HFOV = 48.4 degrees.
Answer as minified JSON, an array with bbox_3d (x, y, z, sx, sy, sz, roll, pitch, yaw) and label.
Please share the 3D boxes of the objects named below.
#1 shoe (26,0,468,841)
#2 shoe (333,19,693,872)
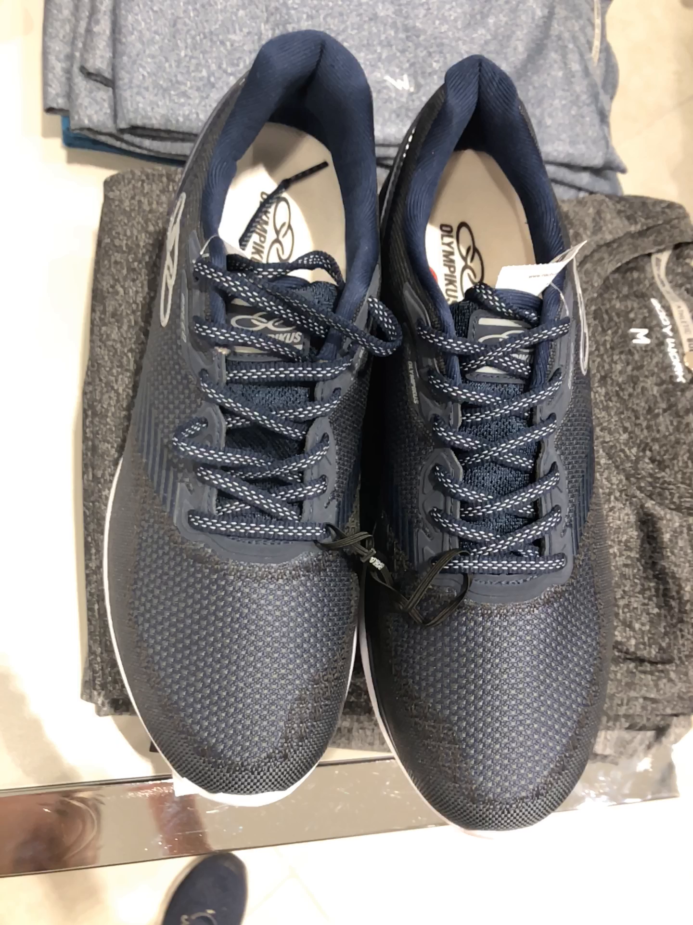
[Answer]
[{"bbox_3d":[-0.035,-0.022,0.315,0.120,0.130,0.290,5,80,-11],"label":"shoe"},{"bbox_3d":[0.063,-0.007,0.327,0.120,0.130,0.290,-2,81,3],"label":"shoe"}]
